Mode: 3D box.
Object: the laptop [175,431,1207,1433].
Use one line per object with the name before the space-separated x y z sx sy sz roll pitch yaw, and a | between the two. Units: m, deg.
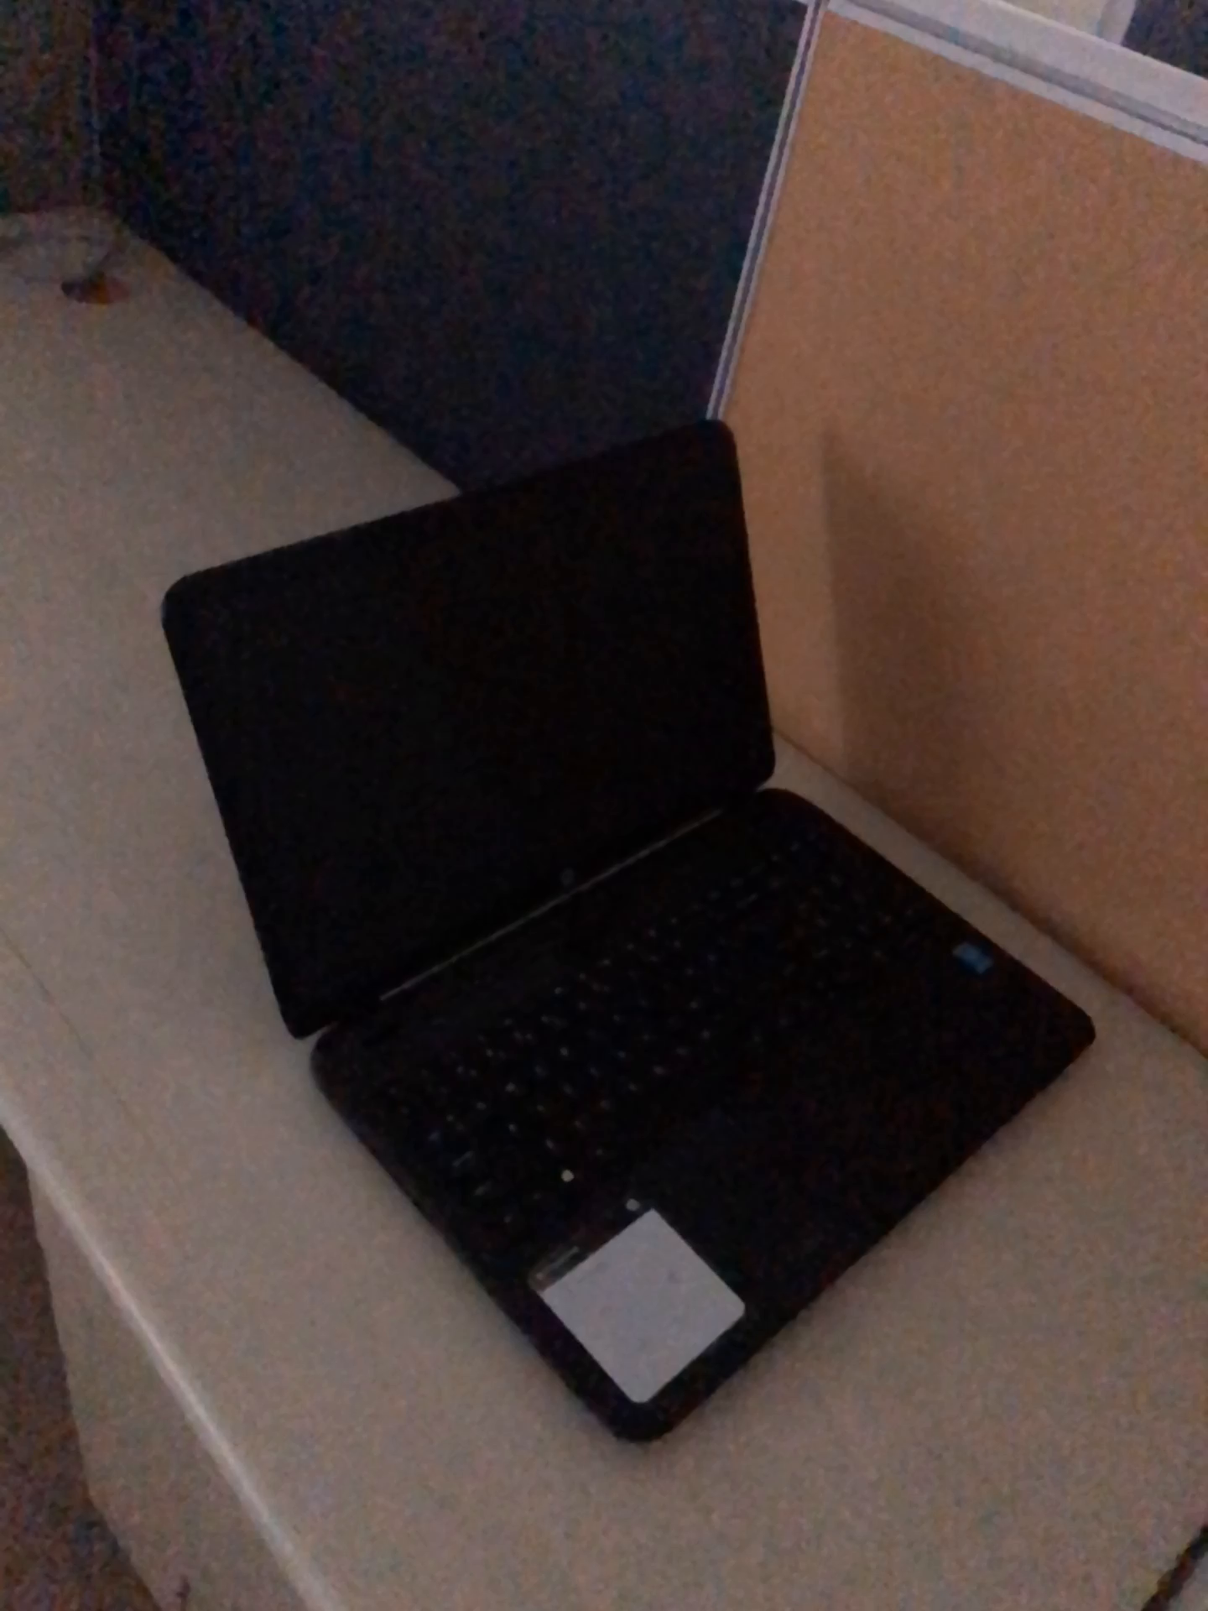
laptop | 0.041 0.018 0.669 0.357 0.205 0.352 -26 53 -35
